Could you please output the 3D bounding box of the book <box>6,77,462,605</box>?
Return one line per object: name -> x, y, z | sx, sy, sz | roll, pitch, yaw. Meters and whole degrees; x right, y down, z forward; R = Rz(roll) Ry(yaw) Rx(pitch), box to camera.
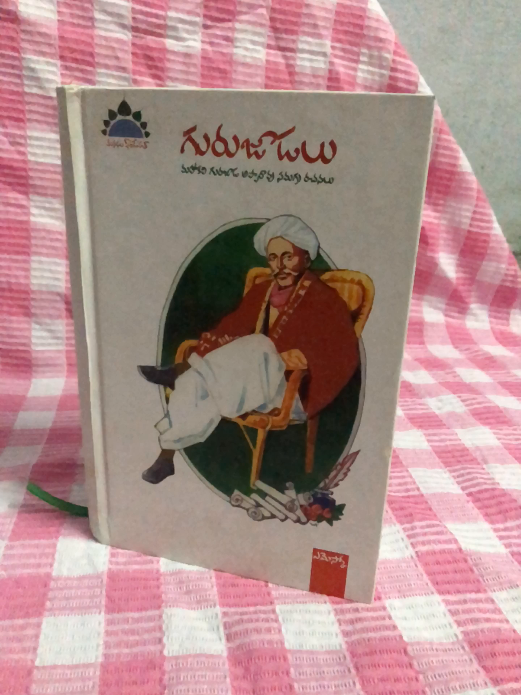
book -> -0.010, -0.005, 0.266 | 0.160, 0.209, 0.070 | 8, 23, 13
